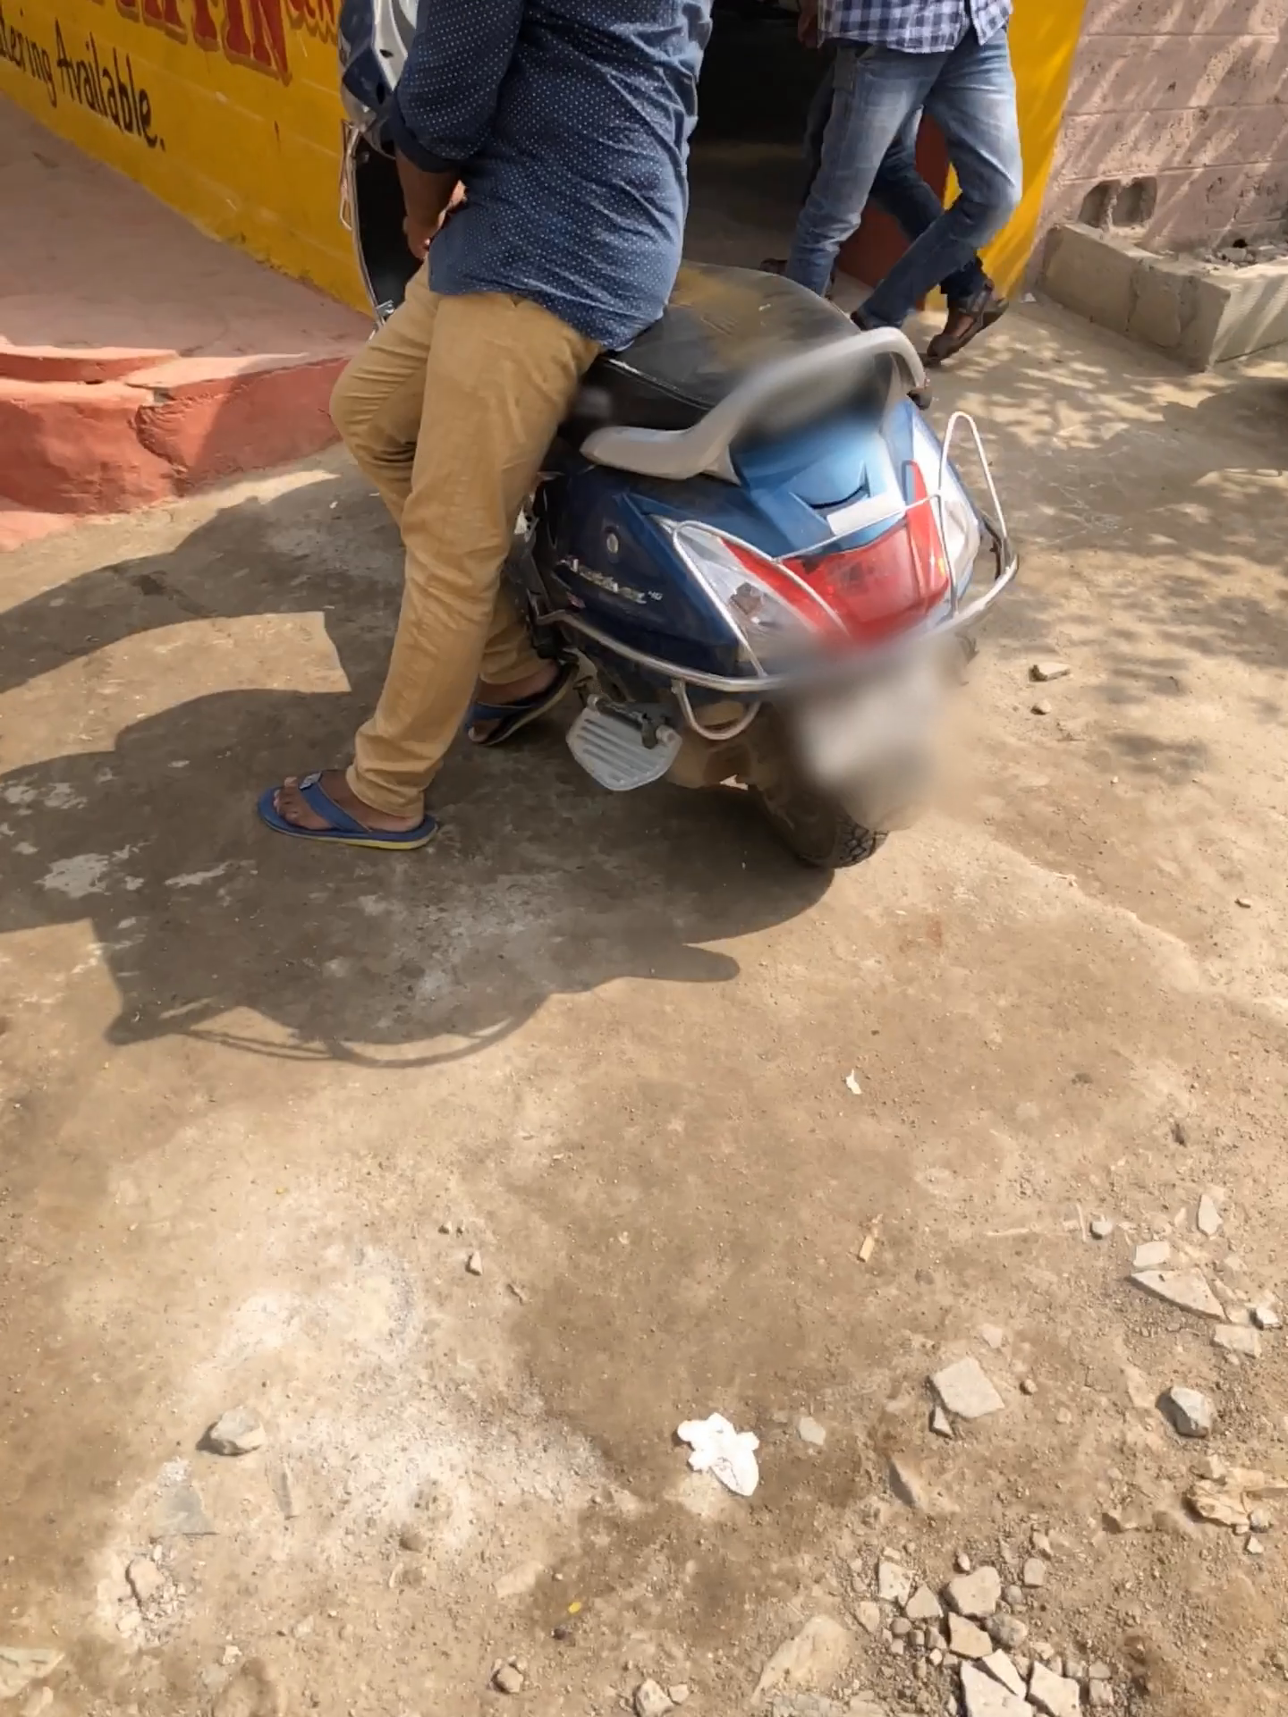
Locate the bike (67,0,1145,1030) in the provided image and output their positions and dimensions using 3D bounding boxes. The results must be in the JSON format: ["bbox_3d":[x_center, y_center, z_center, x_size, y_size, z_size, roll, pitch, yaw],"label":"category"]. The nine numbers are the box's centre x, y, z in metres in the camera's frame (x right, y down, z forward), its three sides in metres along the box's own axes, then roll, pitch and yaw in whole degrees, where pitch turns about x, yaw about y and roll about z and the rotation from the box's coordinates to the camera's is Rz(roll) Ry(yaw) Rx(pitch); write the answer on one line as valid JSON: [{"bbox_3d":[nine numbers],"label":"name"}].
[{"bbox_3d":[-0.241,-0.751,2.219,0.627,1.187,1.637,-18,42,-28],"label":"bike"}]
